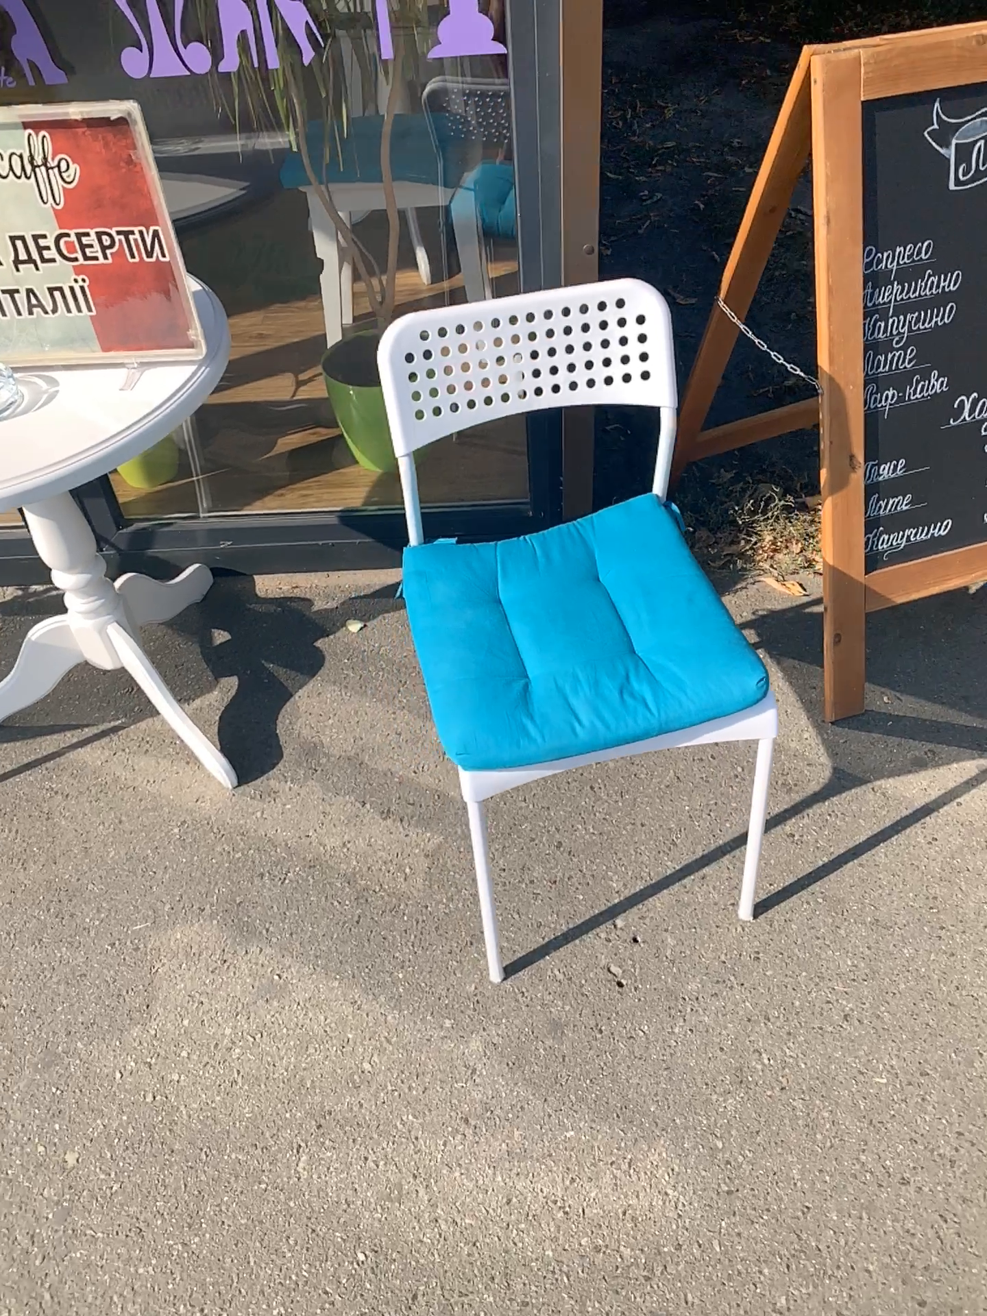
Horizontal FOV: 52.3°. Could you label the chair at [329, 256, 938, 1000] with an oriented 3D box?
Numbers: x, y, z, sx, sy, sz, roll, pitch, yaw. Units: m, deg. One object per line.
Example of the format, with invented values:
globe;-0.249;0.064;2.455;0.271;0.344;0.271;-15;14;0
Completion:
chair;0.119;-0.030;1.298;0.480;0.697;0.542;-12;45;-7
